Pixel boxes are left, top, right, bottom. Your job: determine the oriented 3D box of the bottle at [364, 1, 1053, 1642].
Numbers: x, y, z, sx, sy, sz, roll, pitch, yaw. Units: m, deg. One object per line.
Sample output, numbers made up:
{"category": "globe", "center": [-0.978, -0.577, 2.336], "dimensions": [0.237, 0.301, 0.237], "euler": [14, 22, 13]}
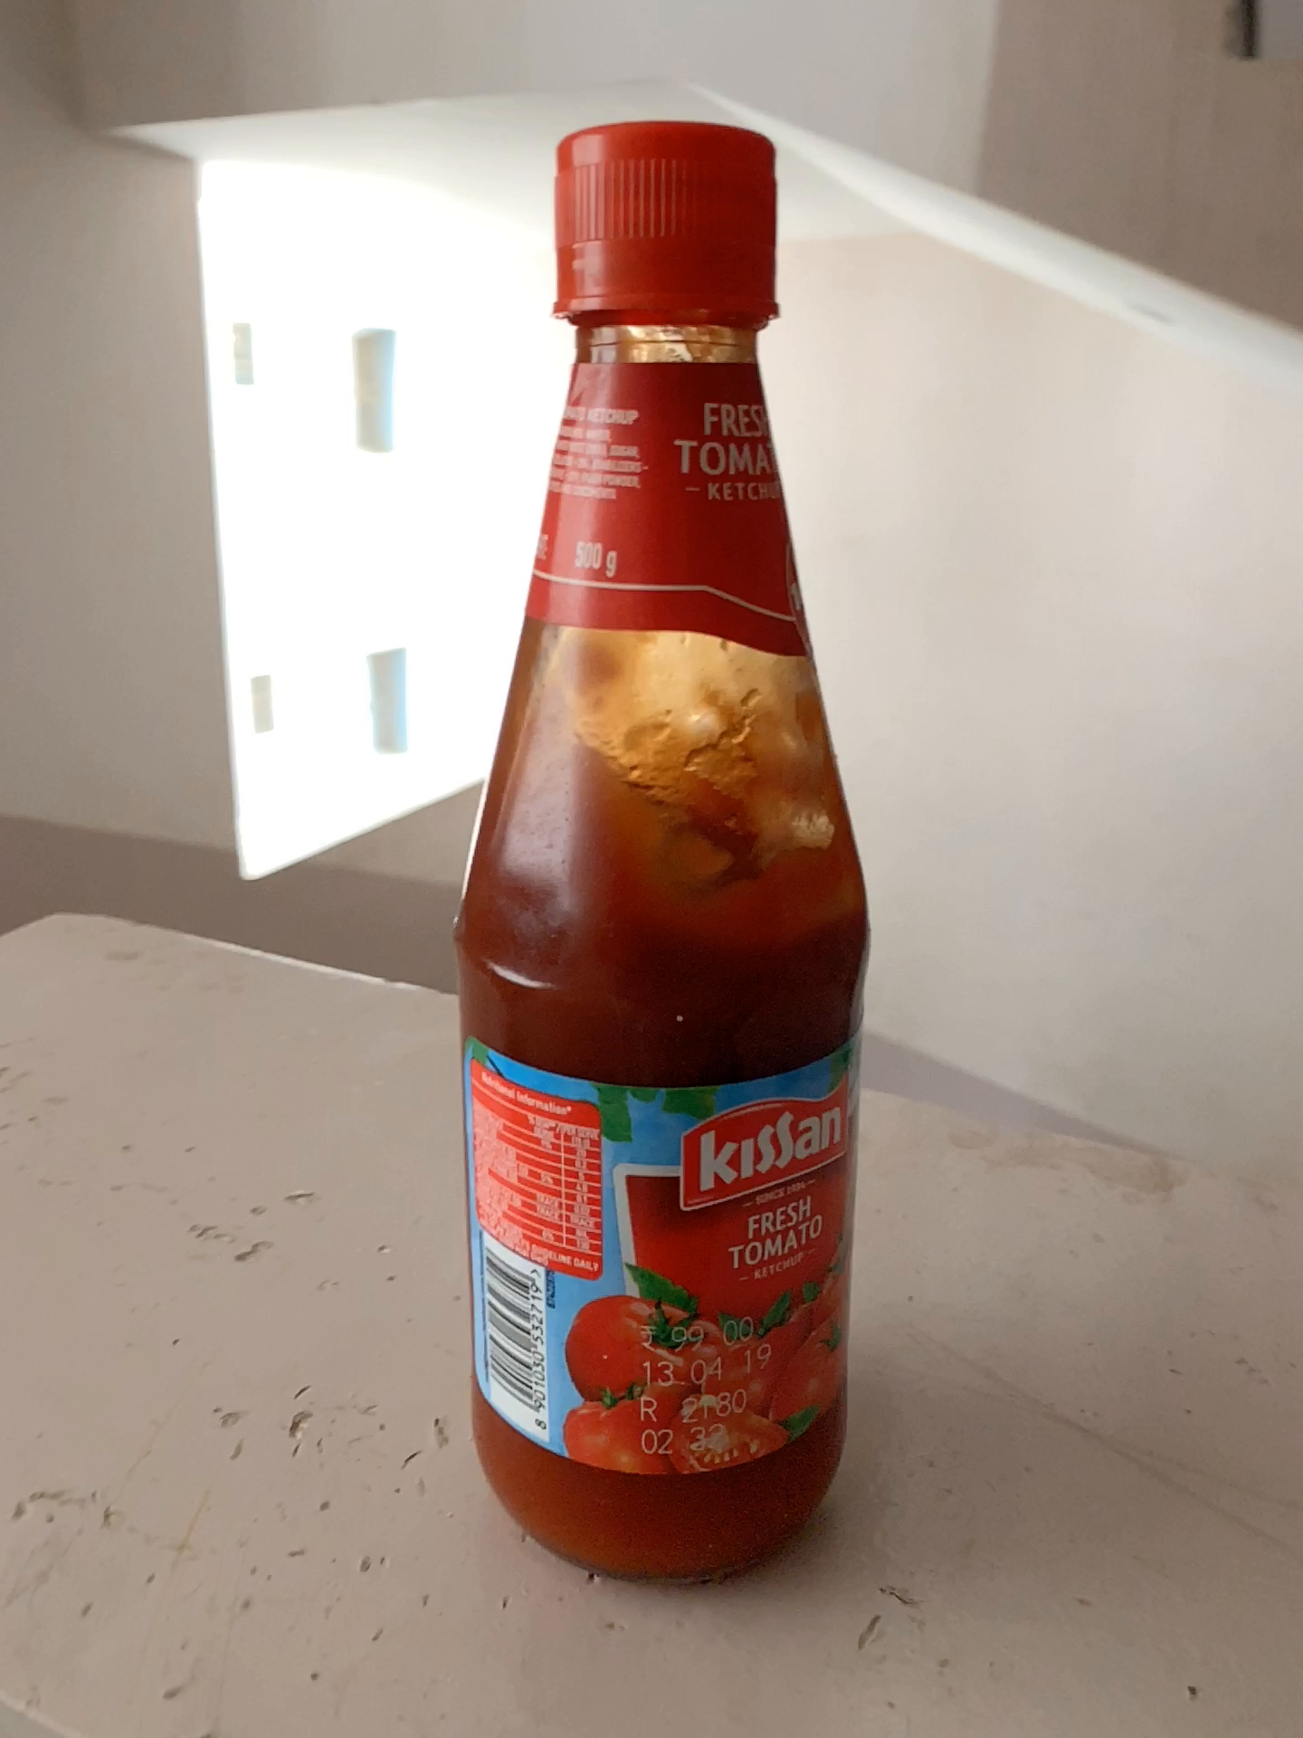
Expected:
{"category": "bottle", "center": [0.003, -0.001, 0.221], "dimensions": [0.070, 0.219, 0.070], "euler": [1, 17, 0]}
